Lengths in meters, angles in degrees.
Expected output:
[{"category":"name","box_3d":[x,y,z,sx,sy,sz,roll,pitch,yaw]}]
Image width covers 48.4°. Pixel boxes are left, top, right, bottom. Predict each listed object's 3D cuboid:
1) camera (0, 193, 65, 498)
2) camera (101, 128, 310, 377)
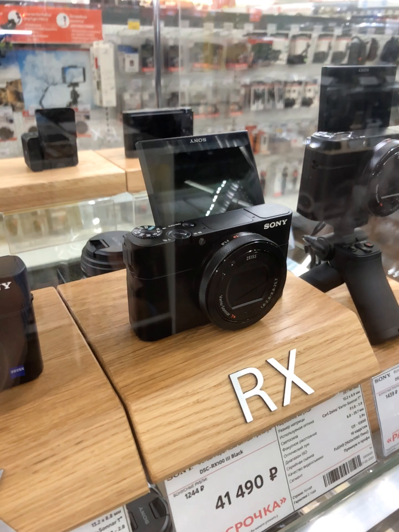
[{"category":"camera","box_3d":[-0.128,0.020,0.199,0.101,0.067,0.097,-14,30,-27]},{"category":"camera","box_3d":[0.003,-0.013,0.262,0.100,0.119,0.050,-14,30,-27]}]
